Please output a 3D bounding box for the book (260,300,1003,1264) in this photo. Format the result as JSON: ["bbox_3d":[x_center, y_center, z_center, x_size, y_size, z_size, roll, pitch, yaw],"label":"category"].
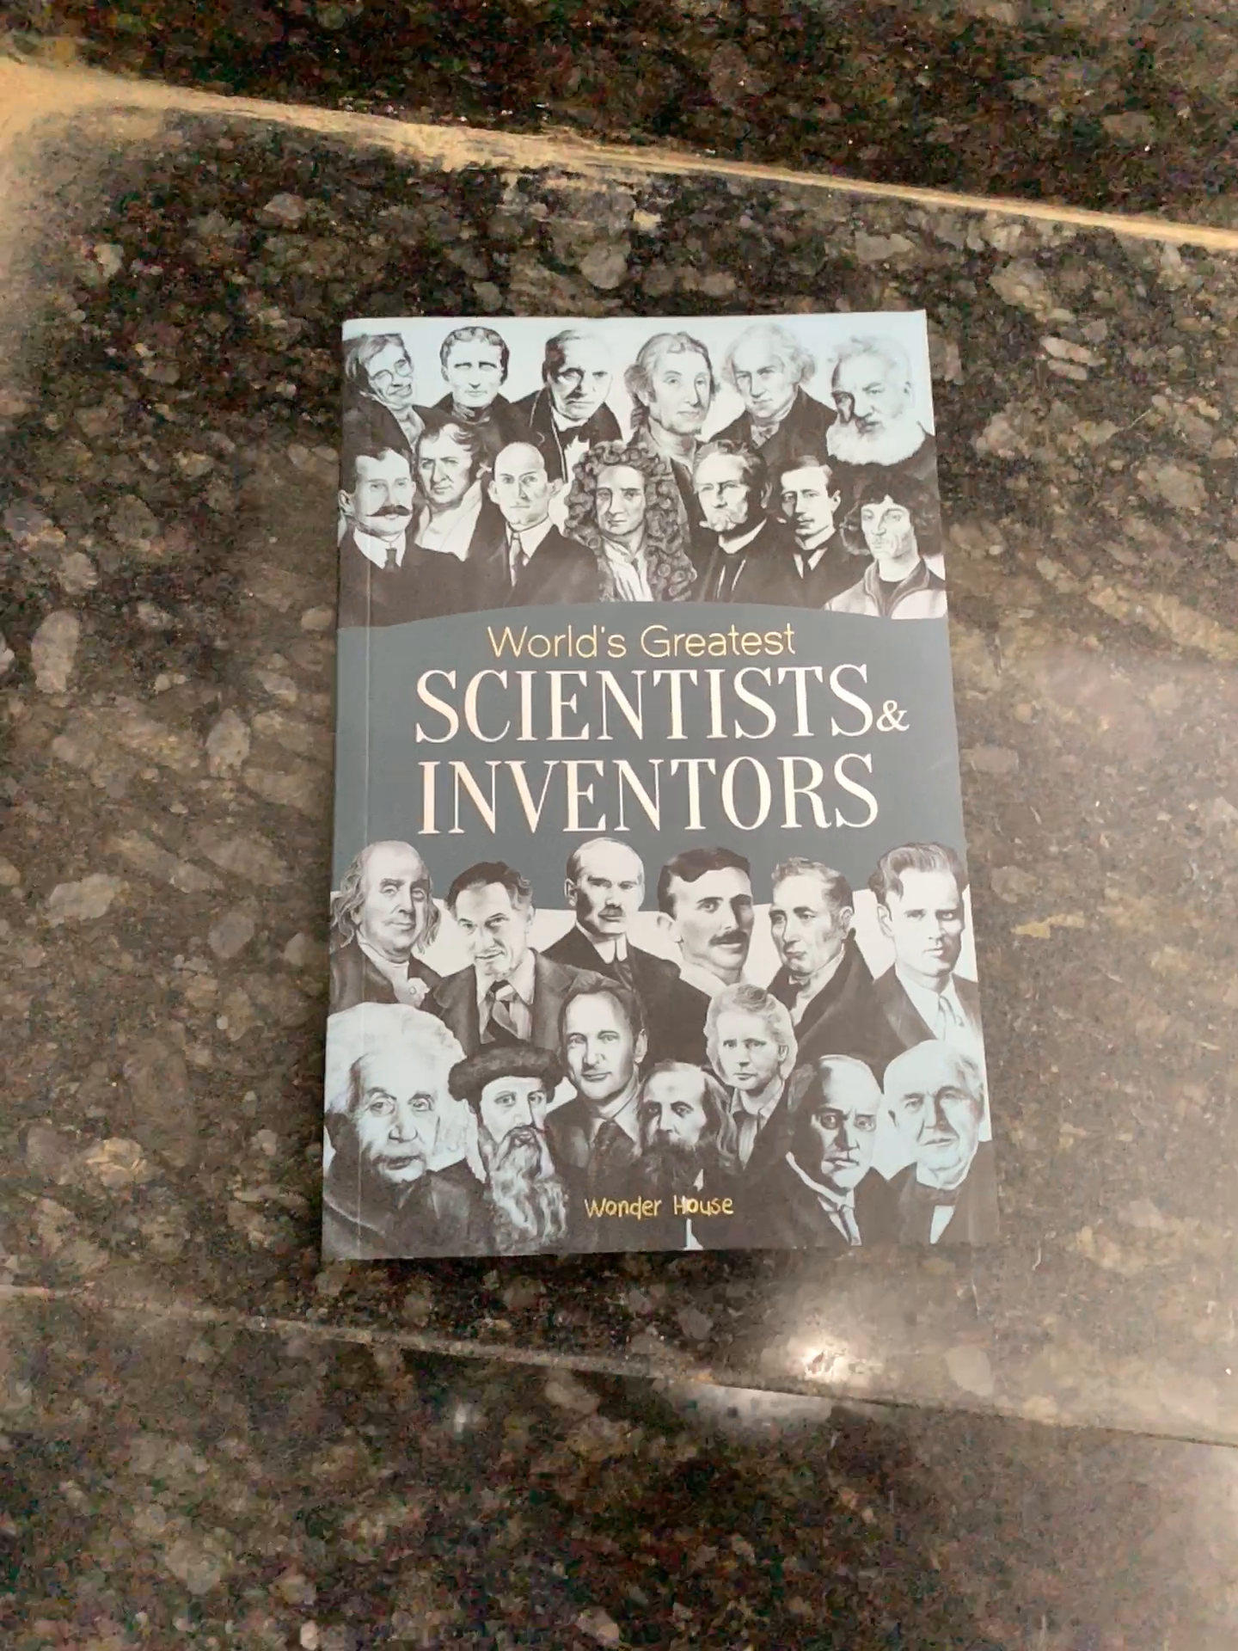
[{"bbox_3d":[0.000,-0.016,0.272,0.140,0.020,0.200,-1,78,-3],"label":"book"}]
